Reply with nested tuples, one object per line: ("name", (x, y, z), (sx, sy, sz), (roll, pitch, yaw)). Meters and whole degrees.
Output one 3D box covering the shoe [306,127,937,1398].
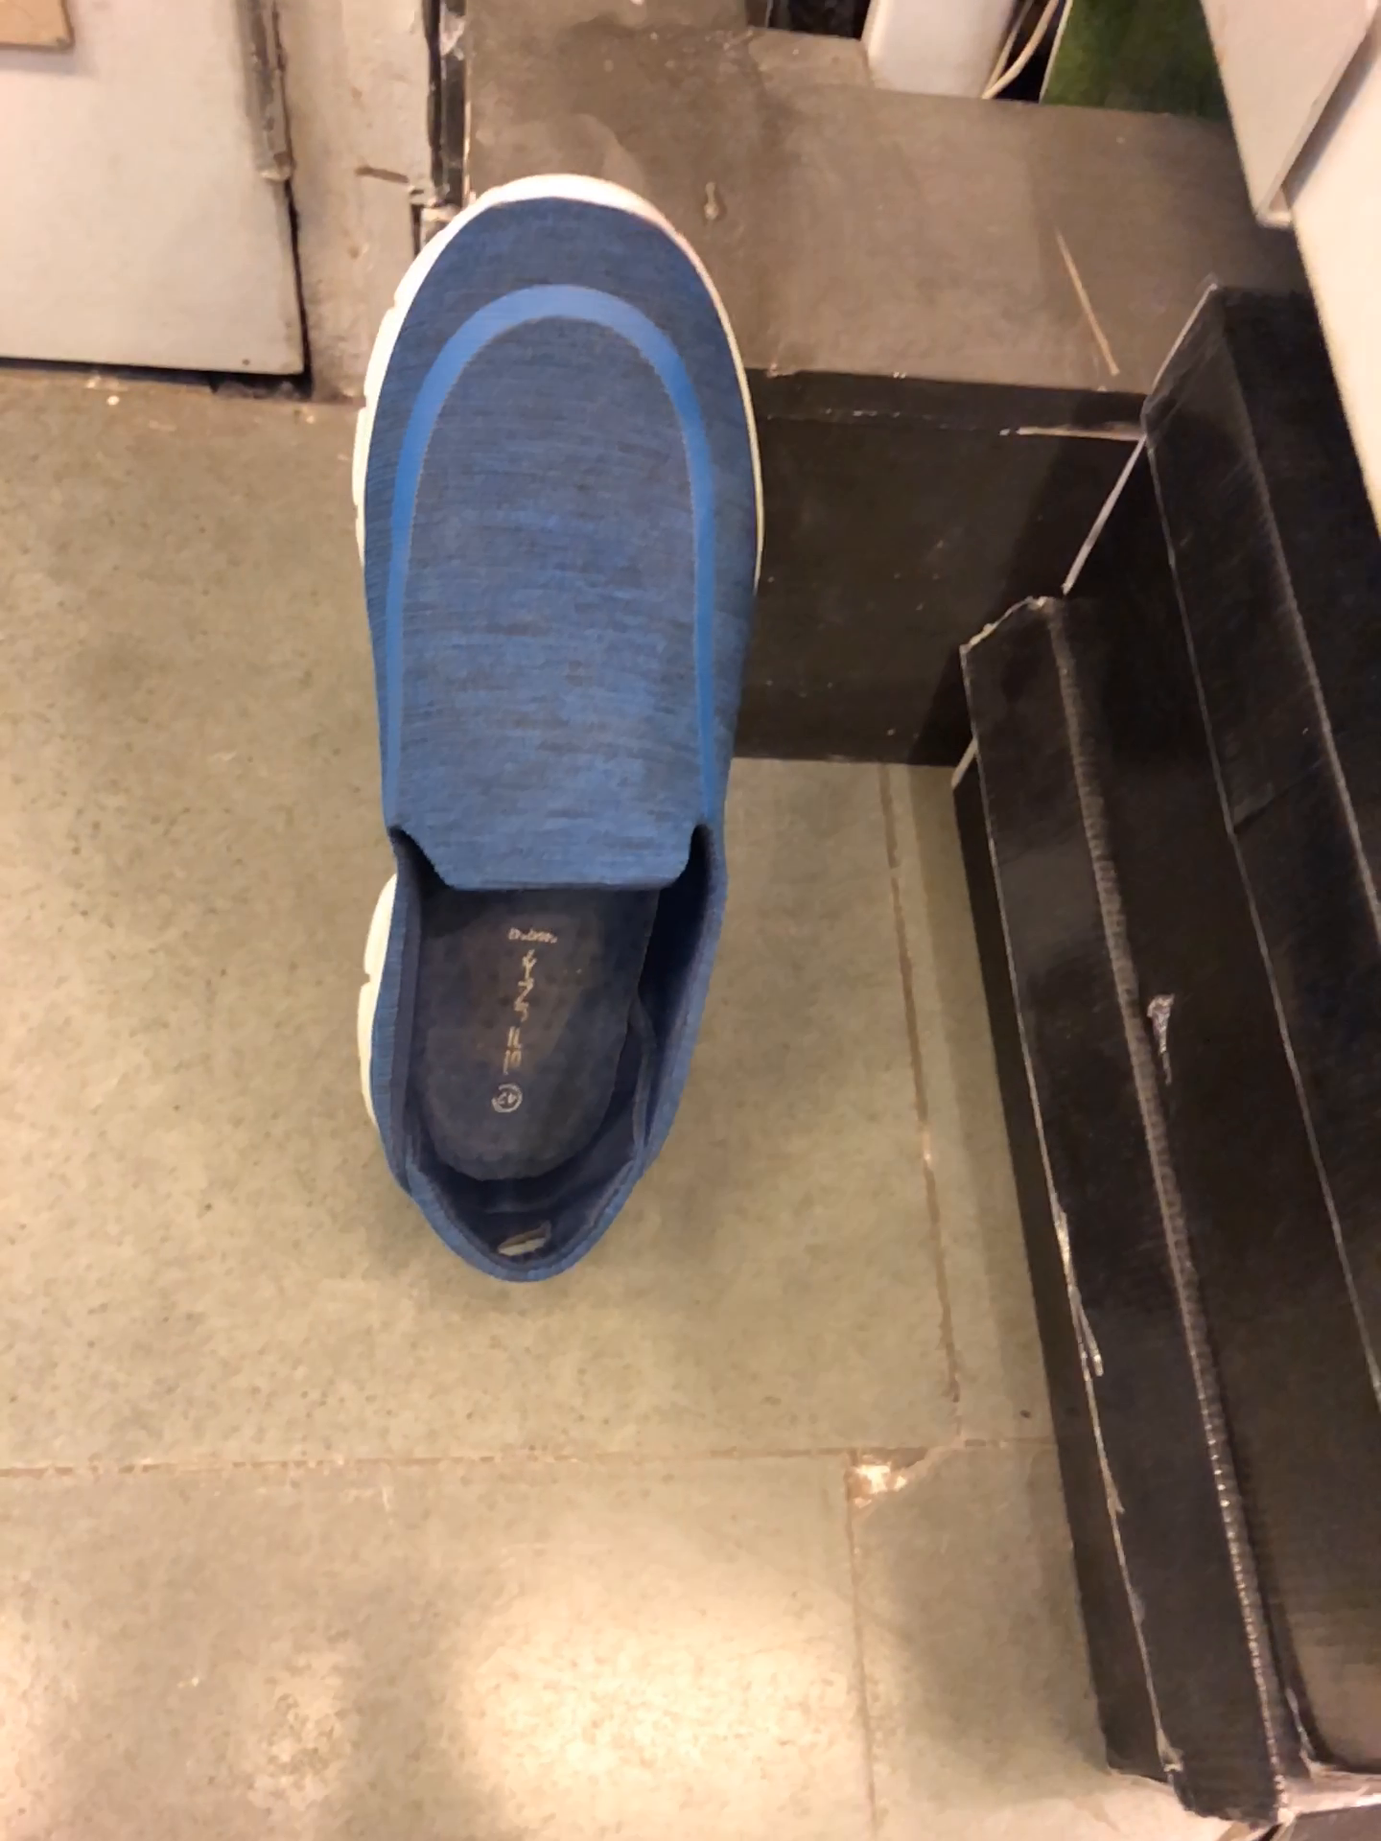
("shoe", (-0.029, -0.029, 0.374), (0.110, 0.271, 0.095), (3, 19, -11))
